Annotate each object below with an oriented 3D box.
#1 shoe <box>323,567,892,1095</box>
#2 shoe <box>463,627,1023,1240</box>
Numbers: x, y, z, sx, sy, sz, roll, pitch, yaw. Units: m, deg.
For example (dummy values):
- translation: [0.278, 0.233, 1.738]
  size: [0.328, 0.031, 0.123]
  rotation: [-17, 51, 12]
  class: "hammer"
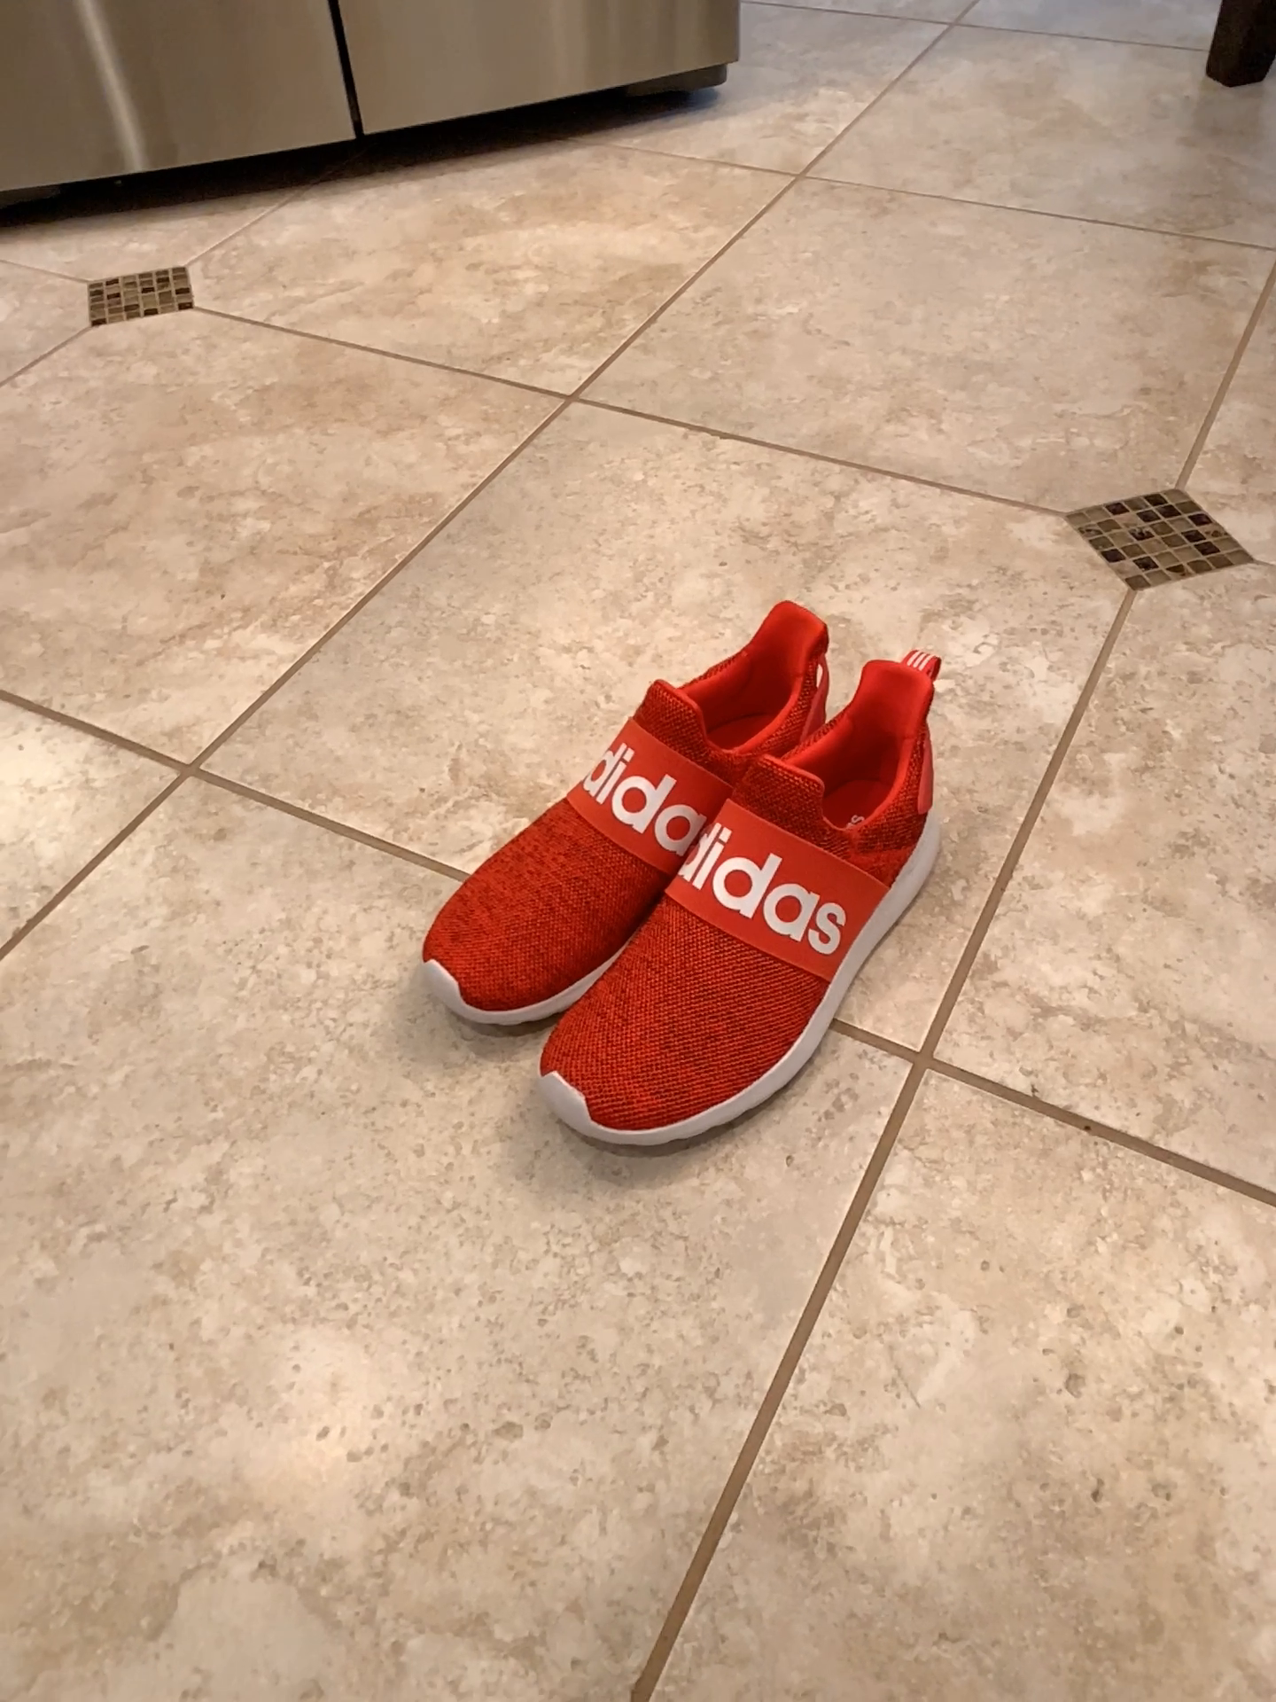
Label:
- translation: [-0.006, -0.021, 0.735]
  size: [0.300, 0.119, 0.118]
  rotation: [-36, 55, -25]
  class: "shoe"
- translation: [0.064, 0.030, 0.677]
  size: [0.118, 0.119, 0.300]
  rotation: [30, 57, 27]
  class: "shoe"
